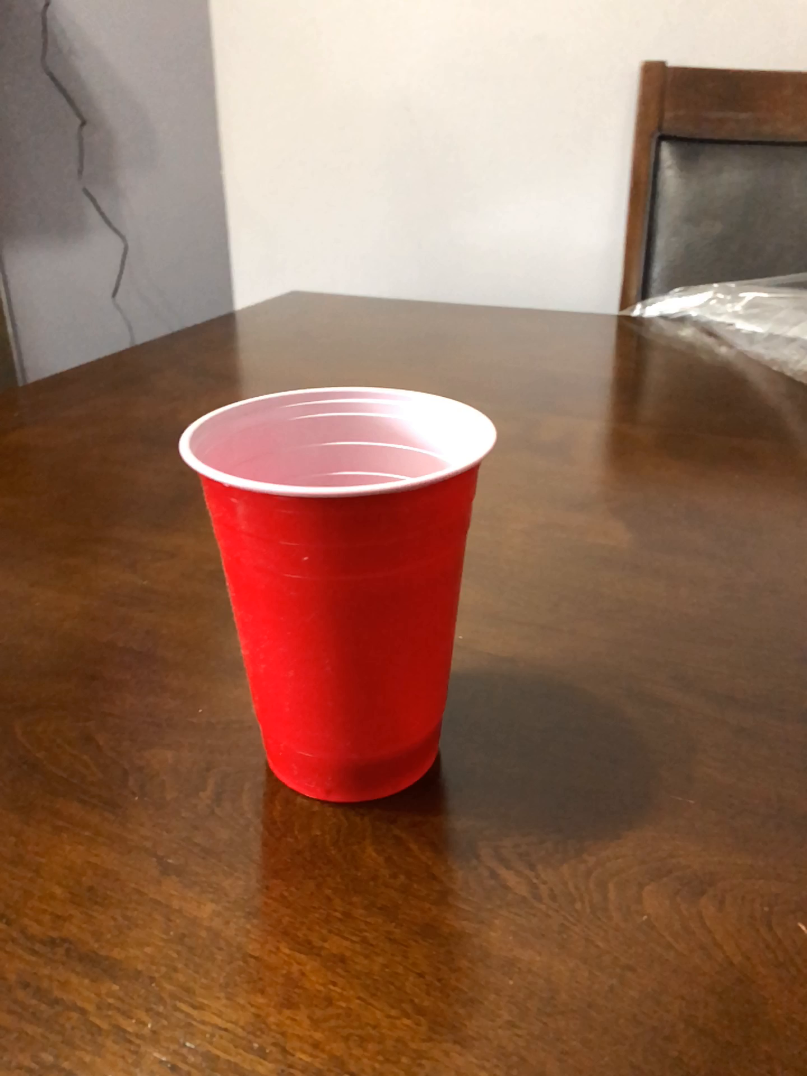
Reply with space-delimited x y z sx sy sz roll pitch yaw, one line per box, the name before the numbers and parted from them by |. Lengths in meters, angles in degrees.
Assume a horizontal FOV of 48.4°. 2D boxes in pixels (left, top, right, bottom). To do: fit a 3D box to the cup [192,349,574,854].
cup | -0.011 0.012 0.283 0.090 0.120 0.090 -1 24 0
